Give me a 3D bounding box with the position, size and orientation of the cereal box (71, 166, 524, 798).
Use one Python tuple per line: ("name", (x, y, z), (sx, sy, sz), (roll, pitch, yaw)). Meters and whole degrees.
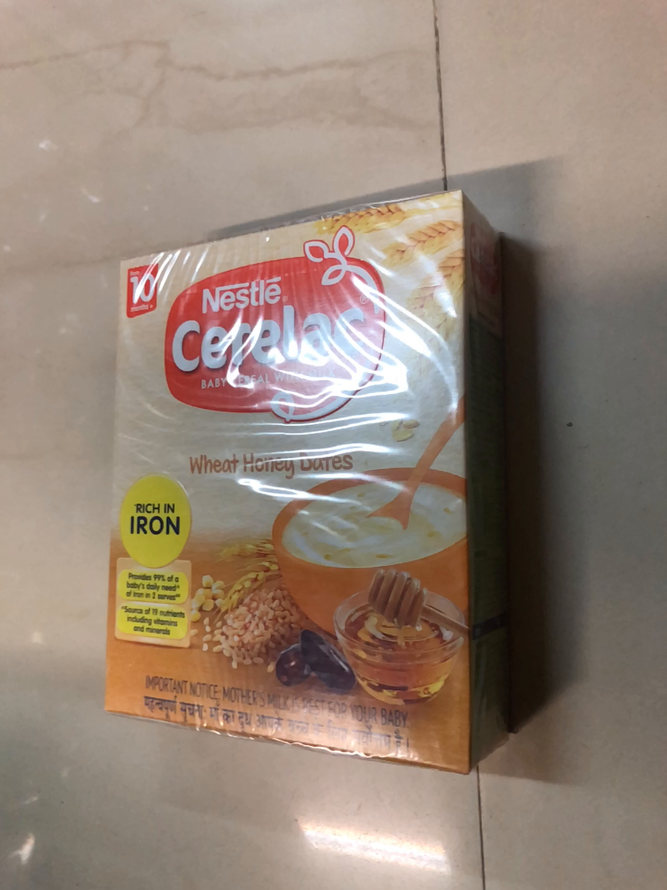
("cereal box", (-0.015, 0.012, 0.287), (0.160, 0.060, 0.190), (-2, 83, 28))
